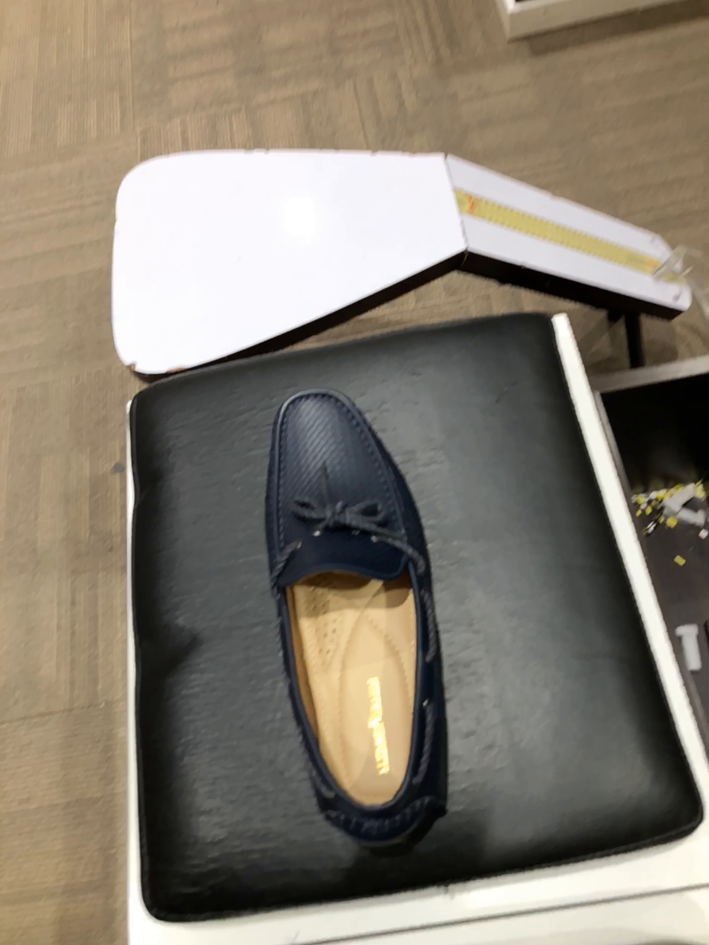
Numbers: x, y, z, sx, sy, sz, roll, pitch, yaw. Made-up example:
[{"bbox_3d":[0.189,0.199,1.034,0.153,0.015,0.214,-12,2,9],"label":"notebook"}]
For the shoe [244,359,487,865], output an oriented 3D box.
[{"bbox_3d":[0.002,0.076,0.465,0.100,0.080,0.271,-10,64,5],"label":"shoe"}]
